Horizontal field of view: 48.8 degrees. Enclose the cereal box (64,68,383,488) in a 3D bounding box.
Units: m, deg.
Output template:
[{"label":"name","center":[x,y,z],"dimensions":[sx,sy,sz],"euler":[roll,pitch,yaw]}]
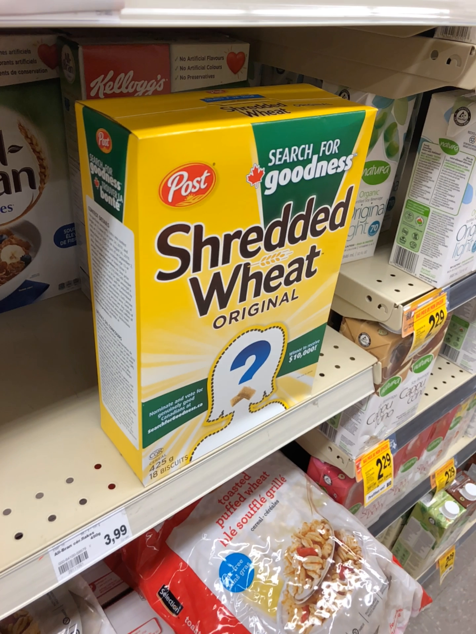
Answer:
[{"label":"cereal box","center":[-0.012,-0.031,0.422],"dimensions":[0.201,0.288,0.080],"euler":[-22,43,-34]}]
